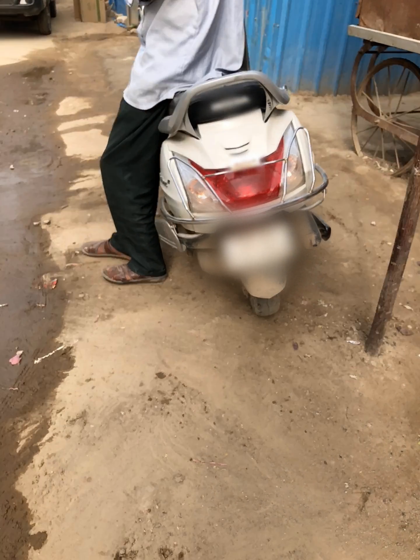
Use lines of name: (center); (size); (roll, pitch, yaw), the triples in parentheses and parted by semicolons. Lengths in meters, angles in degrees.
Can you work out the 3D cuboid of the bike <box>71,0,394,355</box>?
bike: (-0.121, -0.656, 1.886); (0.656, 1.112, 1.584); (-4, 34, -11)
